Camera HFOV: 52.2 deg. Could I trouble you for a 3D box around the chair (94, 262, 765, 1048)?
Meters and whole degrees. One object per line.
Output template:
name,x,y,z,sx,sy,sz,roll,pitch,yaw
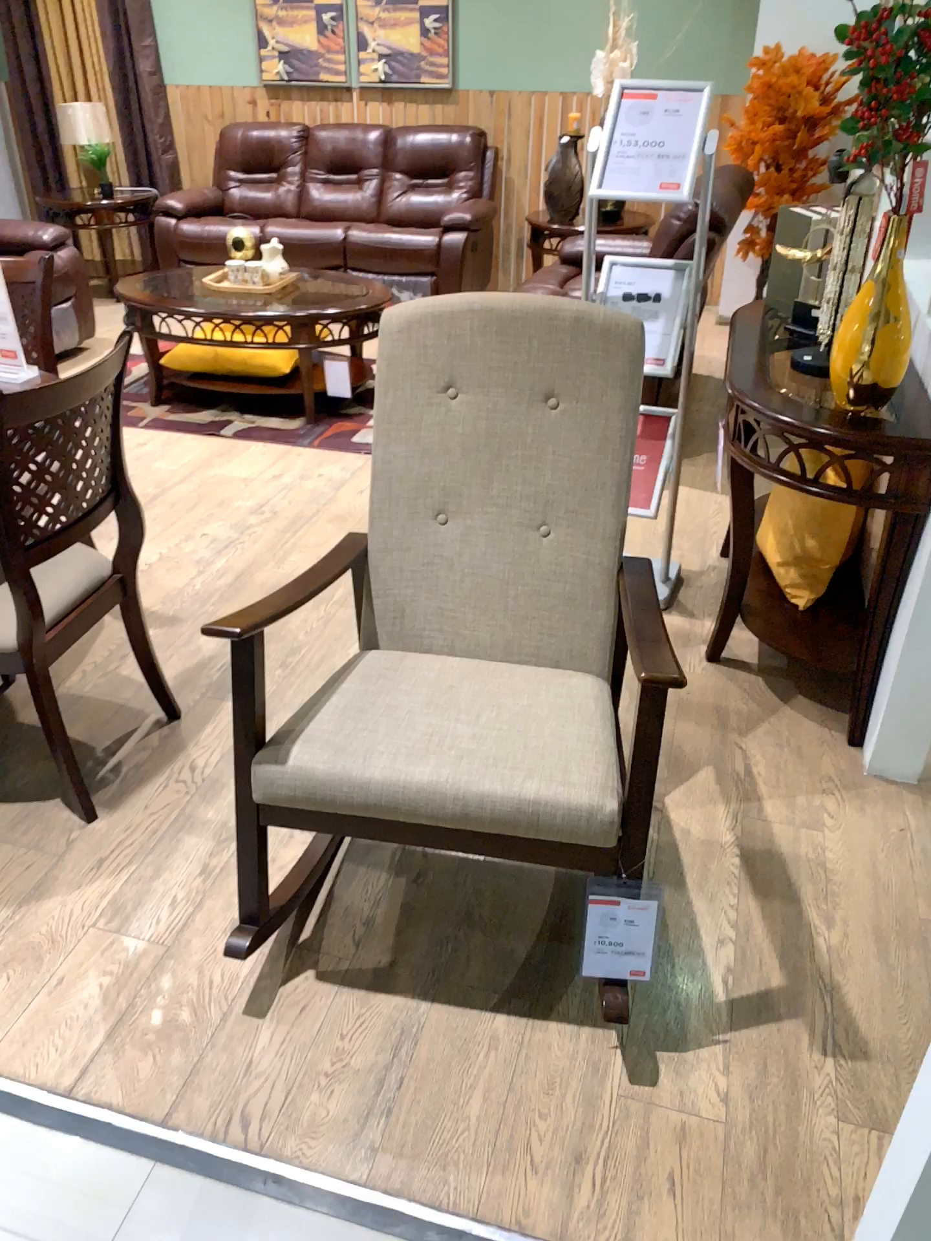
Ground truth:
chair,0.010,-0.005,1.622,0.730,0.976,0.843,5,31,8
